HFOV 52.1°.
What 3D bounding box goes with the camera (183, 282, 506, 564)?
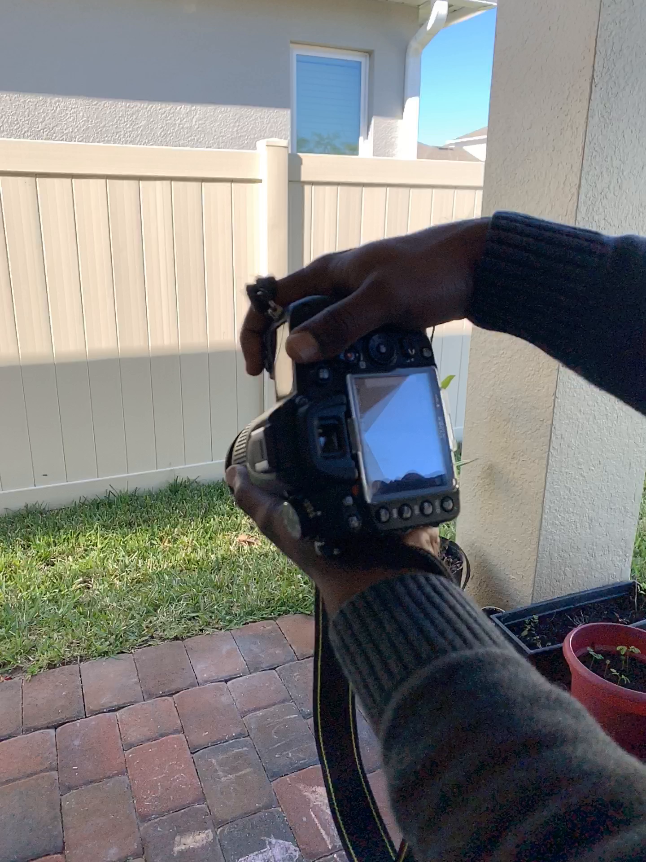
[{"bbox_3d":[-0.003,-0.001,0.356,0.090,0.110,0.170,-8,-2,-26],"label":"camera"}]
